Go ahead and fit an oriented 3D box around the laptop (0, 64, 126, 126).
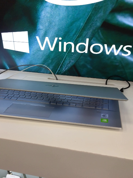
[{"bbox_3d":[-0.042,0.000,0.584,0.439,0.069,0.218,6,28,9],"label":"laptop"}]
